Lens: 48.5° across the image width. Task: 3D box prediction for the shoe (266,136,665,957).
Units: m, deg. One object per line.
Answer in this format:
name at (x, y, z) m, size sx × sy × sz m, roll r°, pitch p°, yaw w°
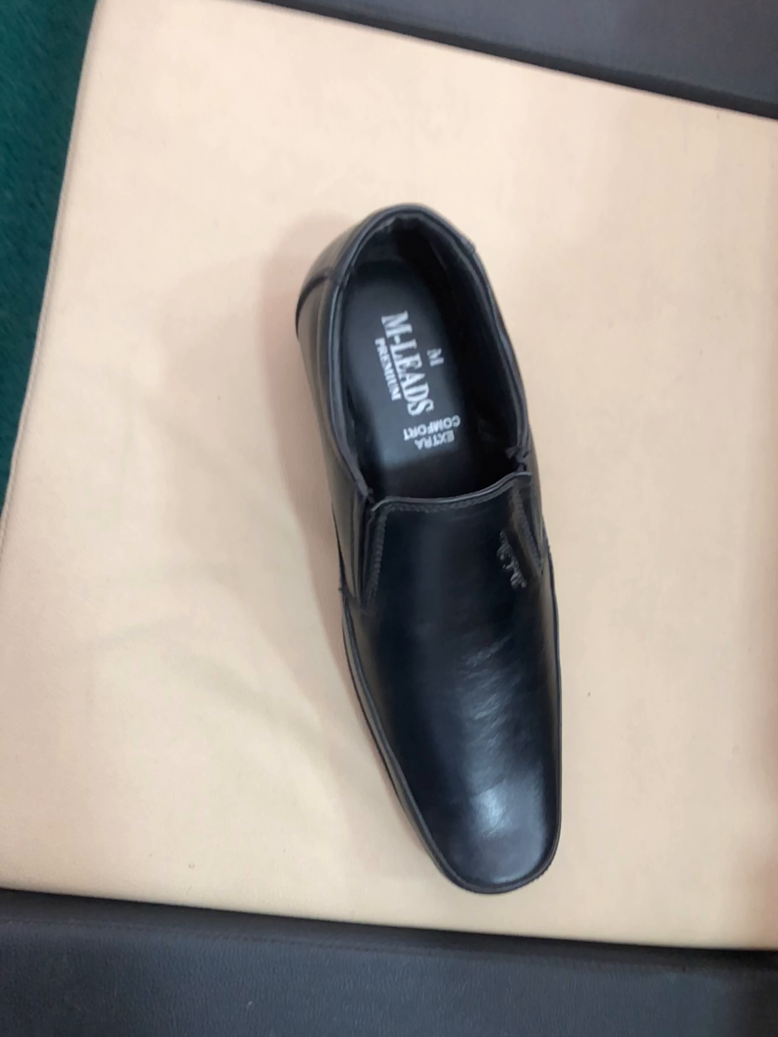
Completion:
shoe at (0.023, 0.005, 0.367) m, size 0.100 × 0.080 × 0.300 m, roll -9°, pitch 86°, yaw -10°
